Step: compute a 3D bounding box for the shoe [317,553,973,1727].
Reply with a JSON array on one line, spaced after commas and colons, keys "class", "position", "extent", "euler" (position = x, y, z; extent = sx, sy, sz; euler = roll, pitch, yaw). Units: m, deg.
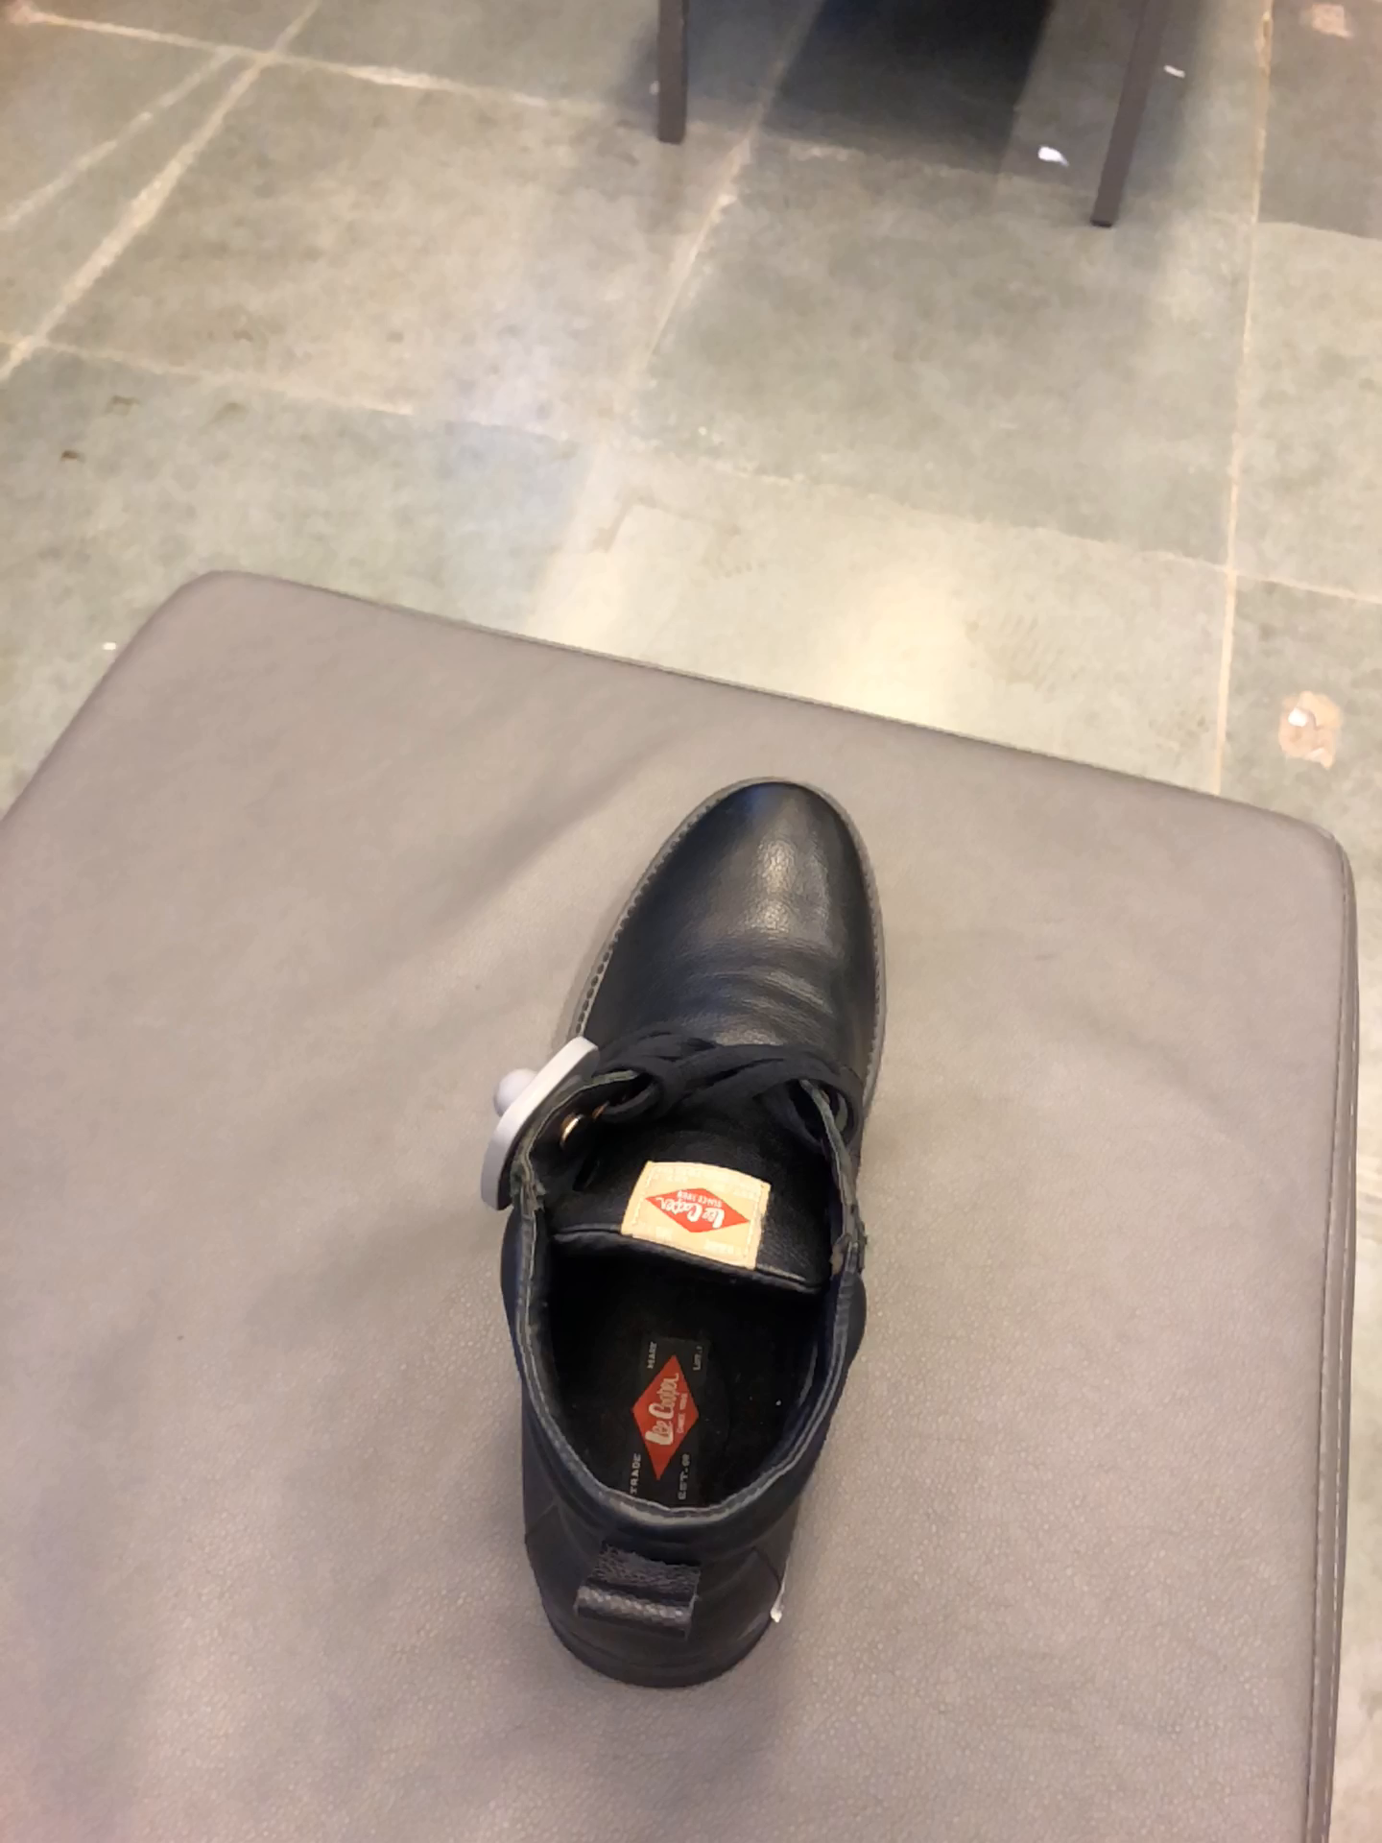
[{"class": "shoe", "position": [0.003, 0.054, 0.441], "extent": [0.111, 0.149, 0.285], "euler": [9, 55, 4]}]
